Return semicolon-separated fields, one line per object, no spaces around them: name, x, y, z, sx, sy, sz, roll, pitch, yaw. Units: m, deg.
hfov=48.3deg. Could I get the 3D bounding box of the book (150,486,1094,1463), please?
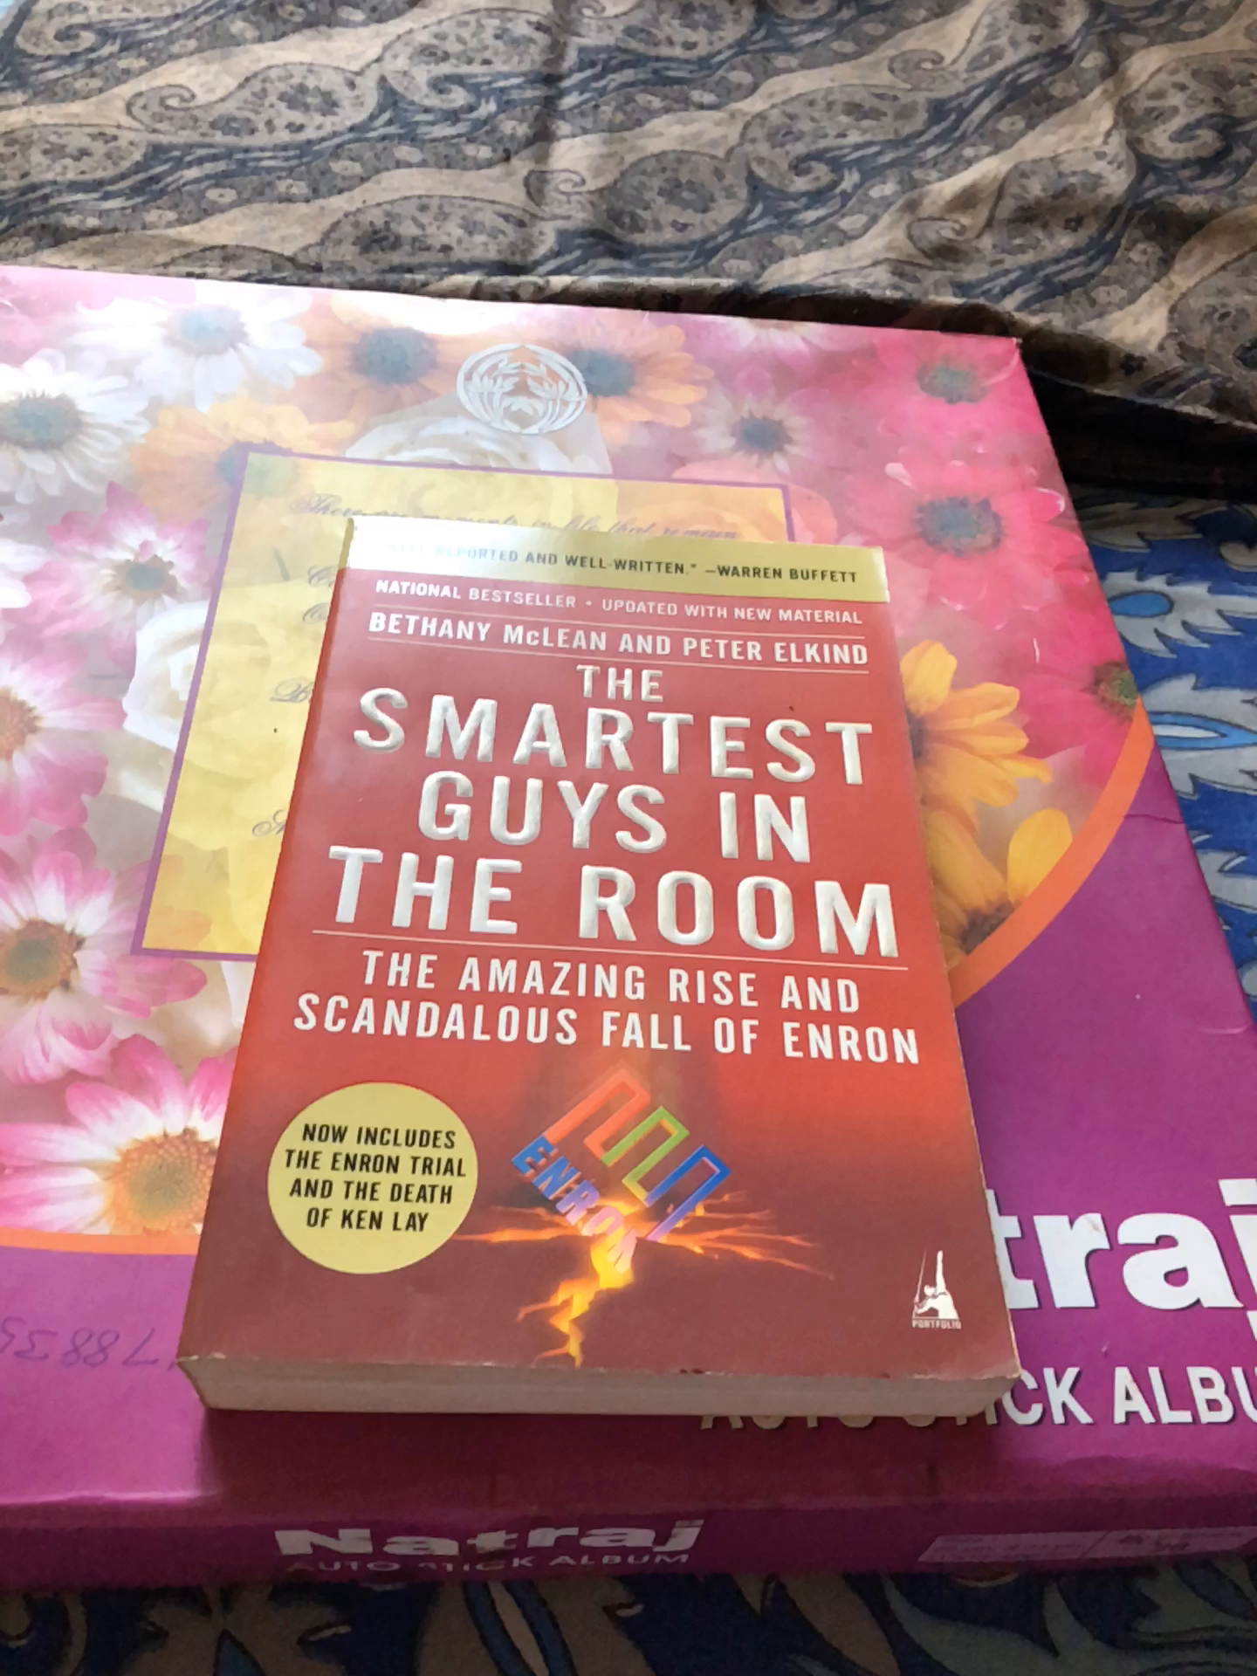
book;0.000;0.012;0.305;0.150;0.040;0.221;1;53;-1
